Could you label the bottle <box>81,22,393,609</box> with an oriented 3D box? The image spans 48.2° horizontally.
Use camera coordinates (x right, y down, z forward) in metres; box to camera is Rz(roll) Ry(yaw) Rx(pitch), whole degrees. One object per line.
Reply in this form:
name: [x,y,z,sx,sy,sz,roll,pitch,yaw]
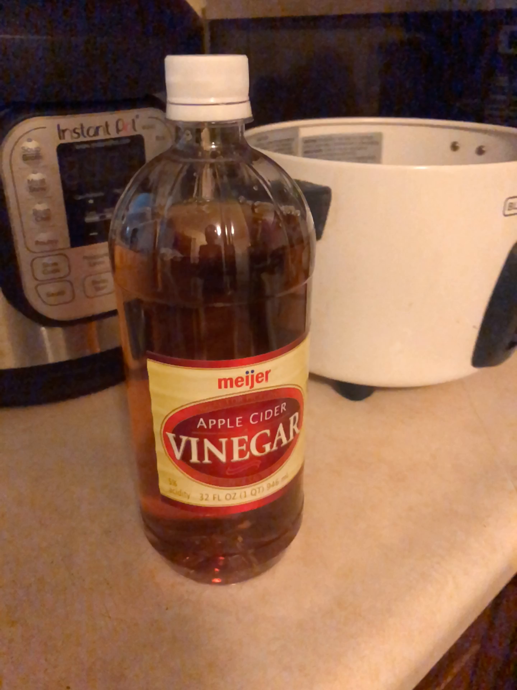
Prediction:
bottle: [-0.013,-0.008,0.251,0.090,0.229,0.080,-8,28,-14]
